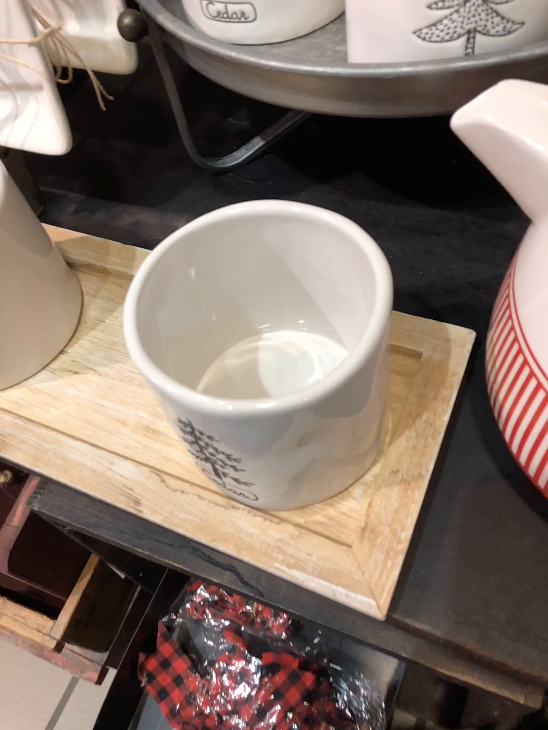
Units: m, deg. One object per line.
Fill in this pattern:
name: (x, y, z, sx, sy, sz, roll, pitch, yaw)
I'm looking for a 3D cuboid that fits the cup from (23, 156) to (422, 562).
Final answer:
cup: (-0.010, 0.000, 0.233, 0.097, 0.100, 0.087, 27, 66, 25)
